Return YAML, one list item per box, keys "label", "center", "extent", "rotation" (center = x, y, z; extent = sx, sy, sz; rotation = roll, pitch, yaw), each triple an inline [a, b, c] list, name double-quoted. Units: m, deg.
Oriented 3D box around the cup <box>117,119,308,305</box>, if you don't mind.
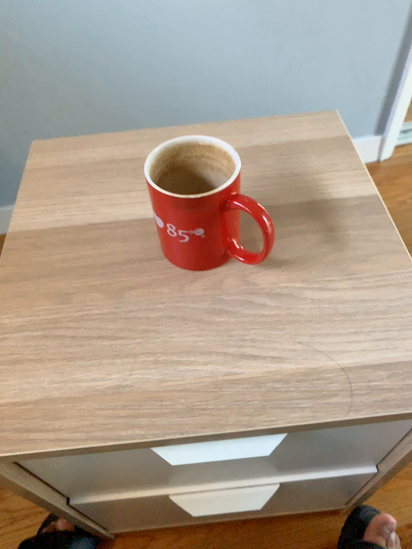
- label: "cup"
  center: [0.006, -0.059, 0.388]
  extent: [0.130, 0.090, 0.090]
  rotation: [30, 60, 24]
